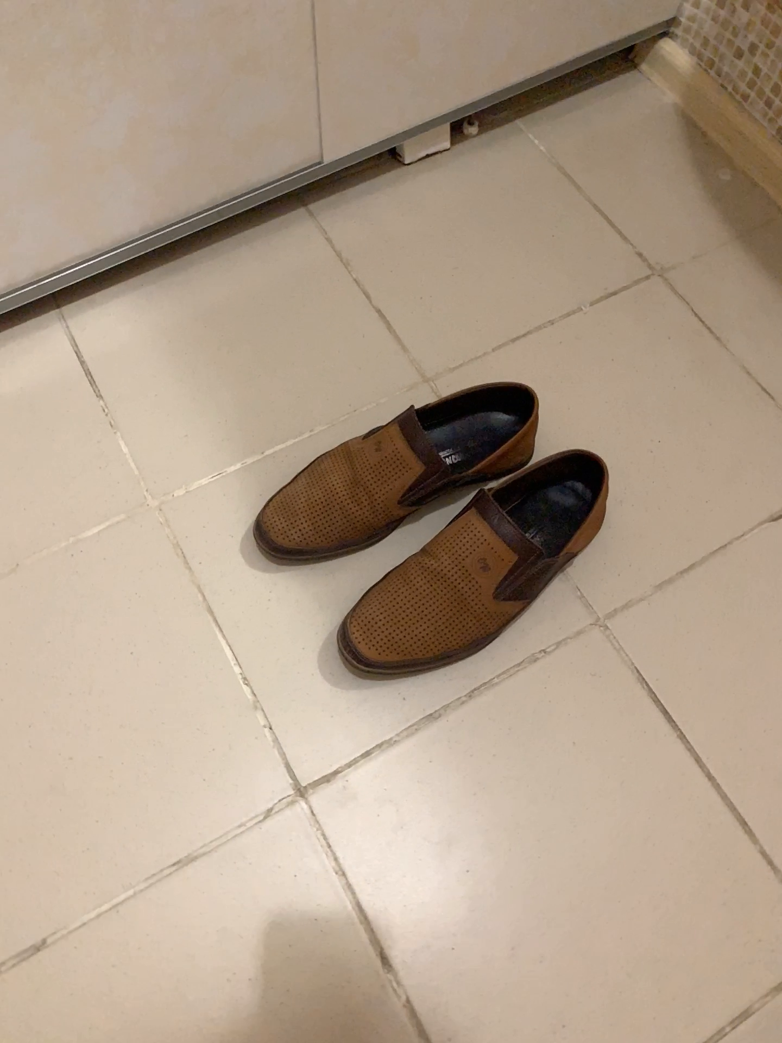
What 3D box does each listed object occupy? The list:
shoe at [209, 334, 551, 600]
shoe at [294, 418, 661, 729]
[{"bbox_3d":[-0.008,-0.051,0.712,0.270,0.080,0.110,-27,68,-13],"label":"shoe"},{"bbox_3d":[0.073,0.041,0.688,0.290,0.090,0.110,-31,69,-15],"label":"shoe"}]
